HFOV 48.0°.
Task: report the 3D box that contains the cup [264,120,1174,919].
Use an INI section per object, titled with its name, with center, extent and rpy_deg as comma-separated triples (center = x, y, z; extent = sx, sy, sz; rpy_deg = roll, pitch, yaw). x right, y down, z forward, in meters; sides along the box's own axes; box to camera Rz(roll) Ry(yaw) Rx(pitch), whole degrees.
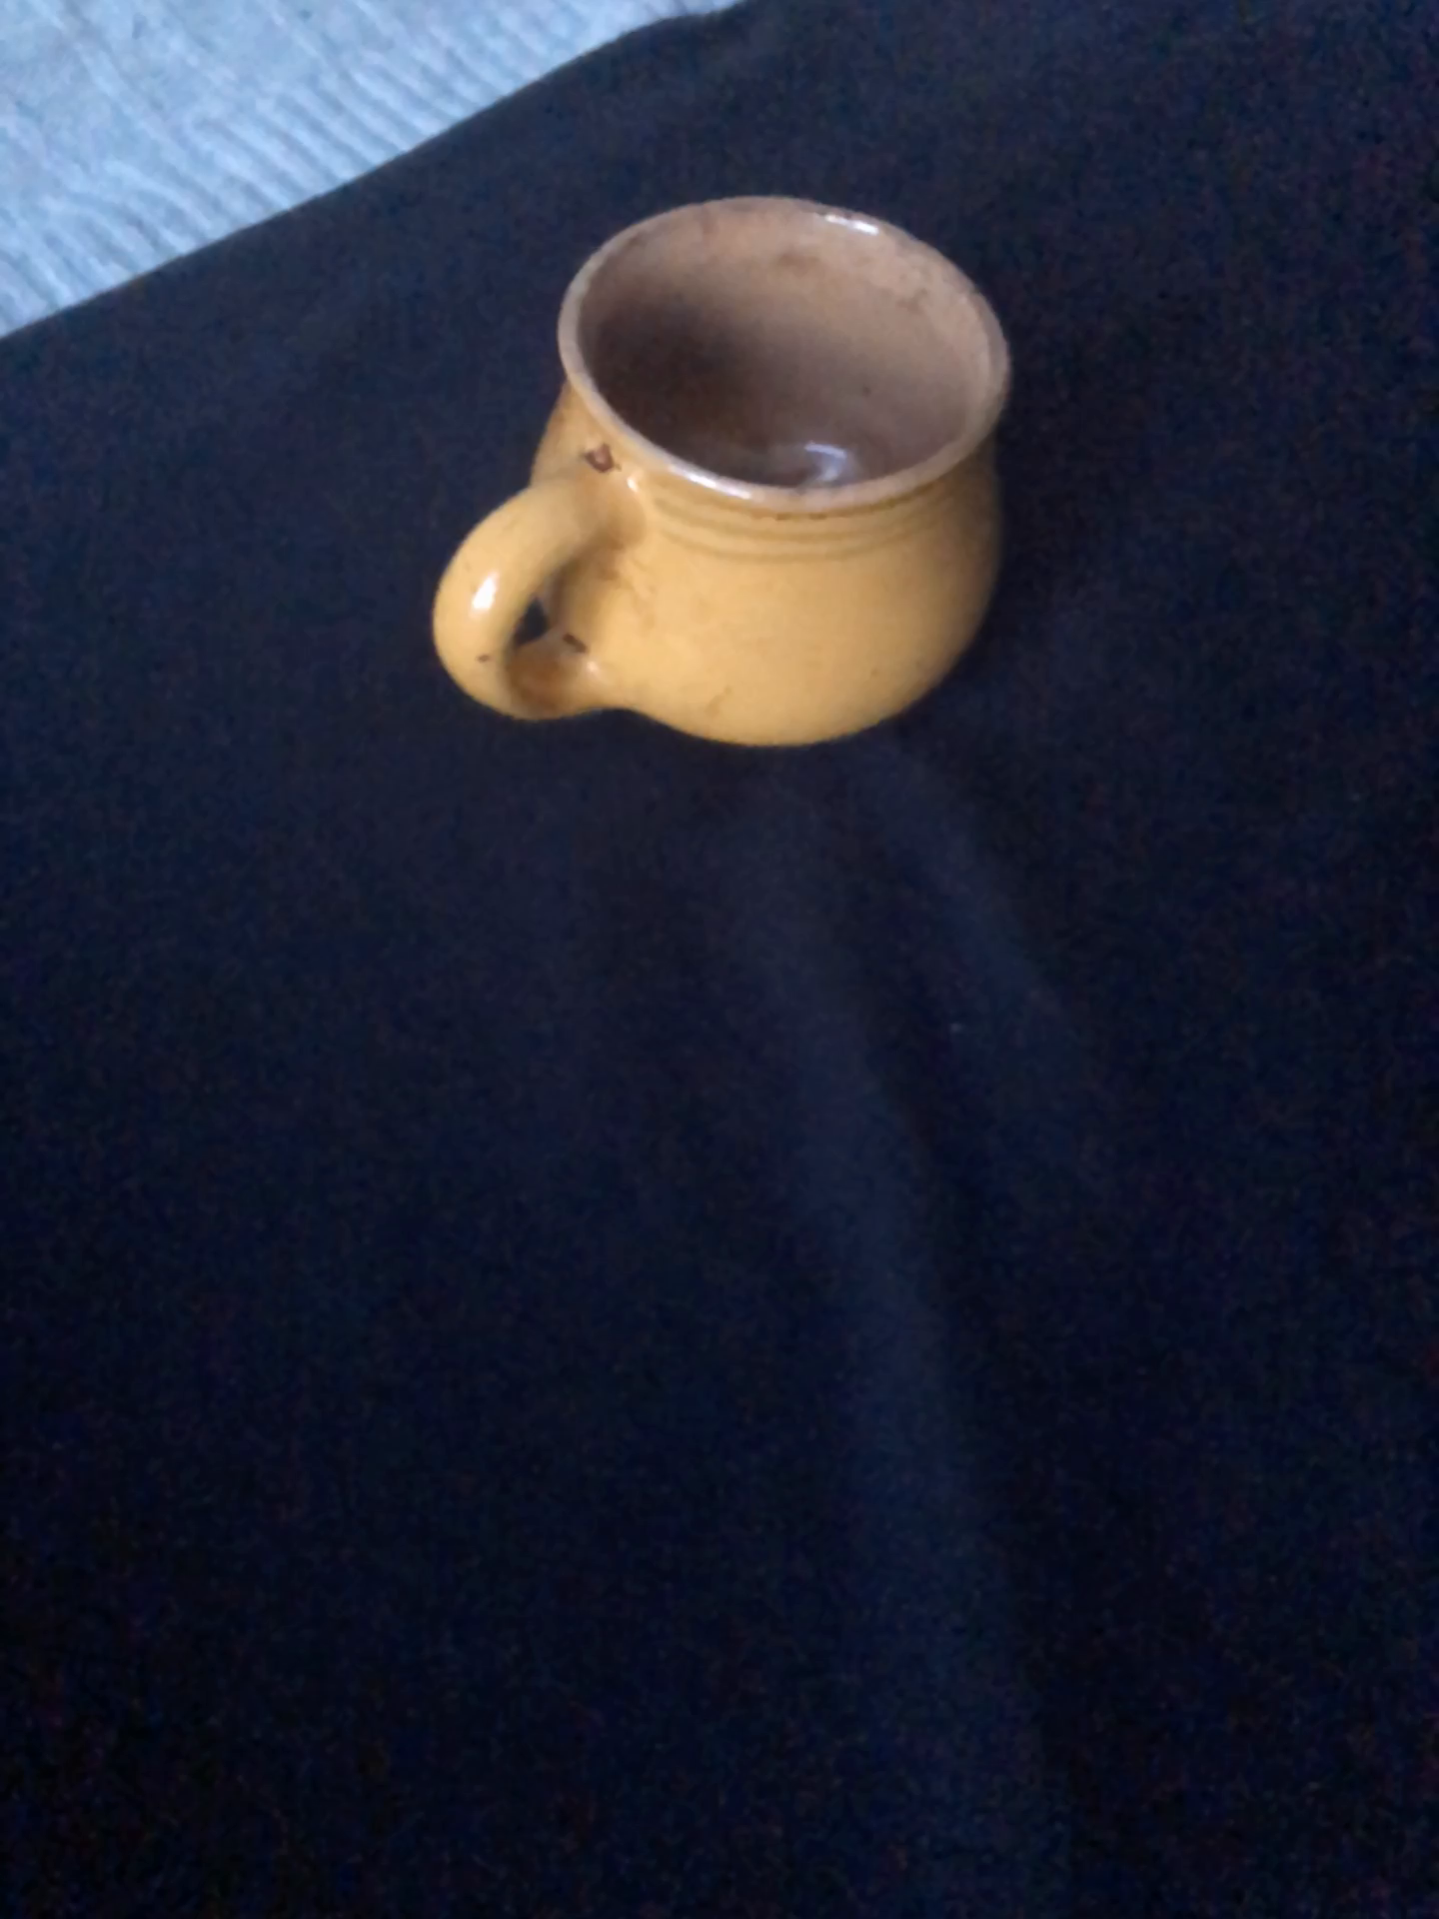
[cup]
center = -0.001, -0.079, 0.280
extent = 0.119, 0.058, 0.082
rpy_deg = -31, 67, -22
